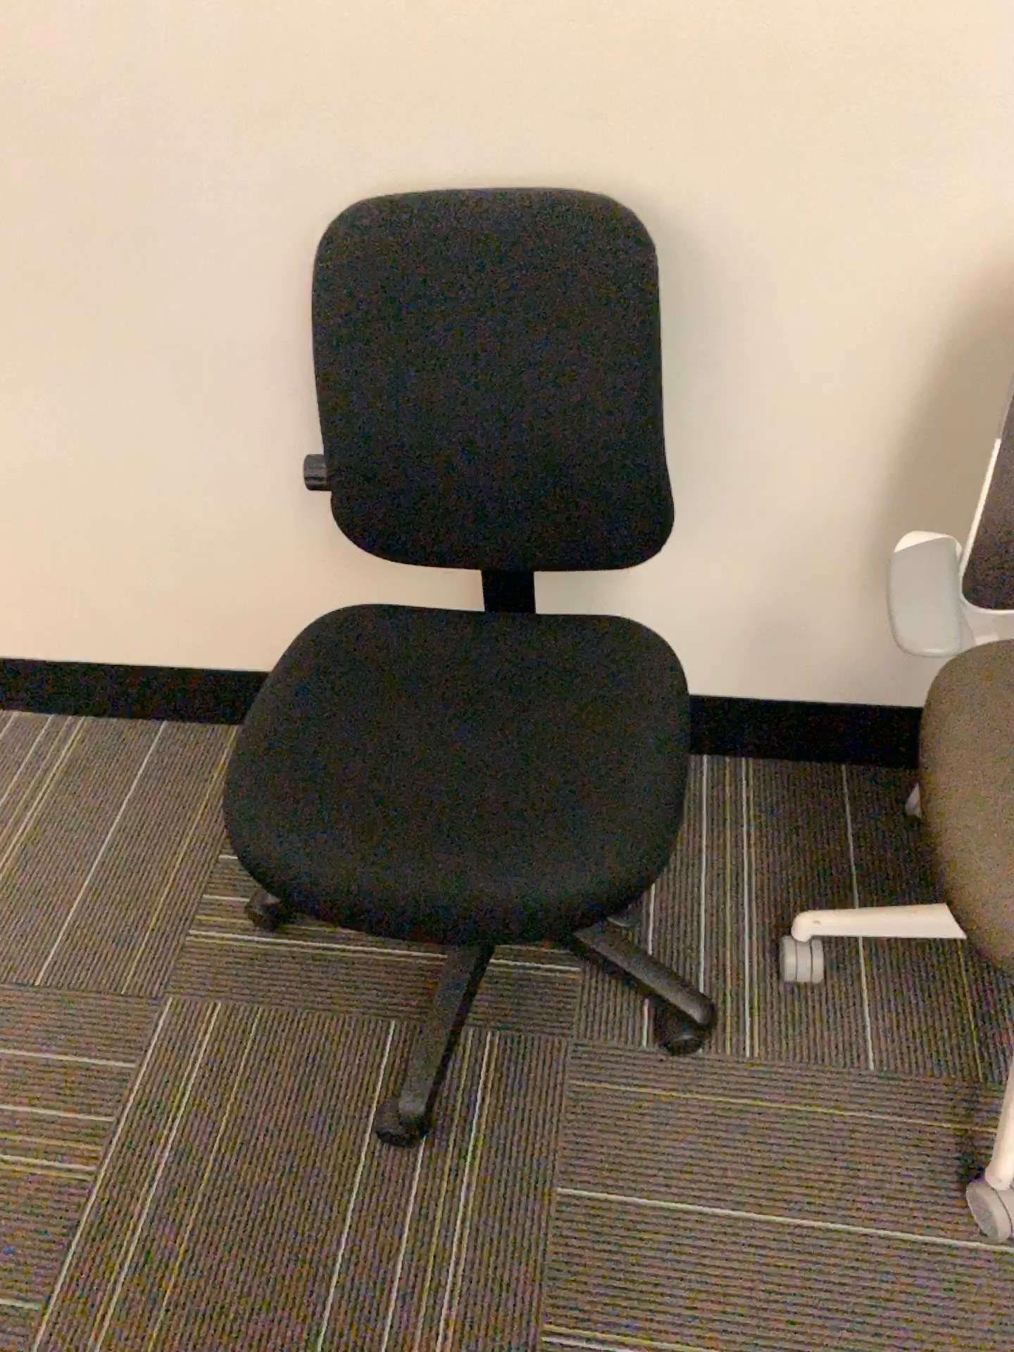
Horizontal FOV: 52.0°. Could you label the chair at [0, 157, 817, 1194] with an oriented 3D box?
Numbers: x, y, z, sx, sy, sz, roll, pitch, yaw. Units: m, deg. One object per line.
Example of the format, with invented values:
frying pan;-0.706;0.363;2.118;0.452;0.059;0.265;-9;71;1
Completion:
chair;-0.065;0.038;1.279;0.681;0.994;0.744;2;46;8
